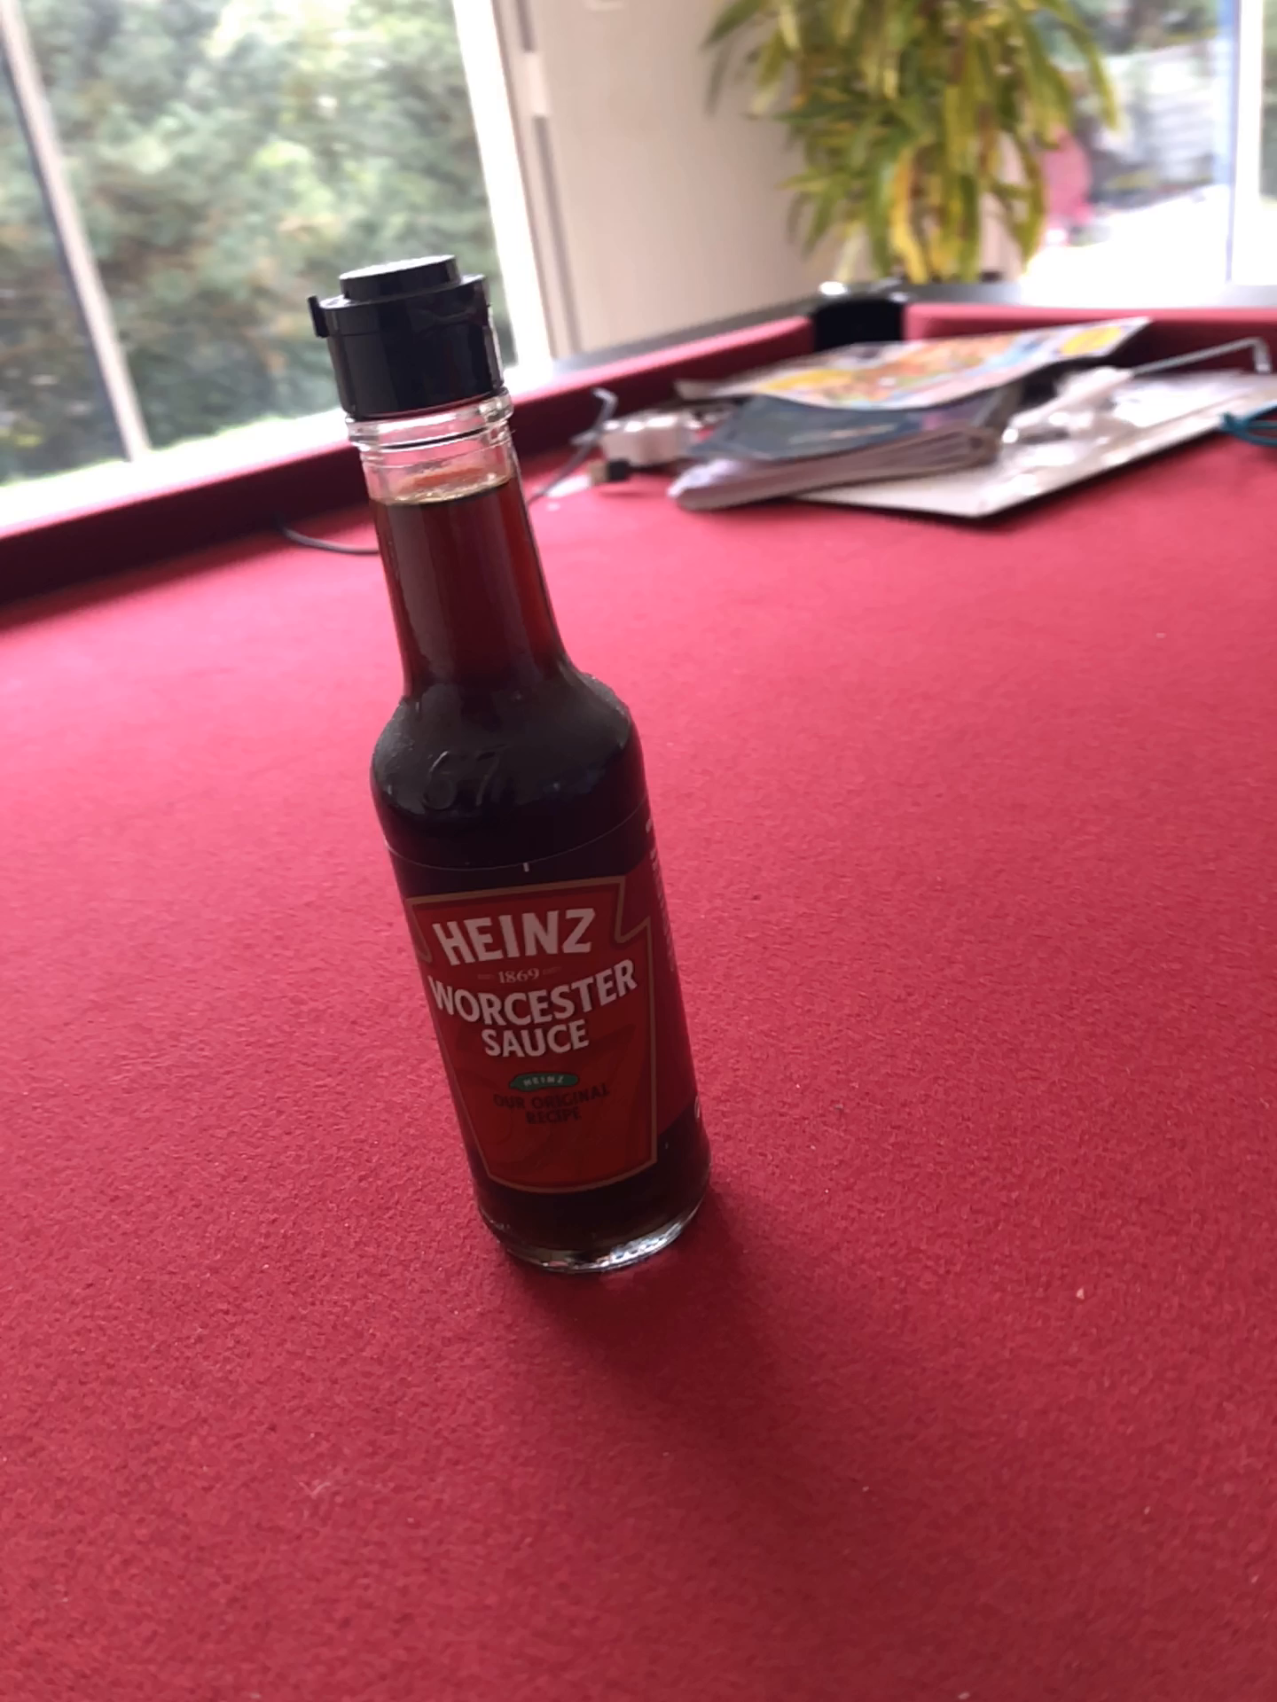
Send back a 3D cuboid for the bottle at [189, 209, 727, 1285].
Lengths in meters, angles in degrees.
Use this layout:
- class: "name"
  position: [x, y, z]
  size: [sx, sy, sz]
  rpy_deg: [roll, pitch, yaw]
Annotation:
- class: "bottle"
  position: [-0.021, -0.011, 0.249]
  size: [0.050, 0.179, 0.050]
  rpy_deg: [-7, 26, 4]
